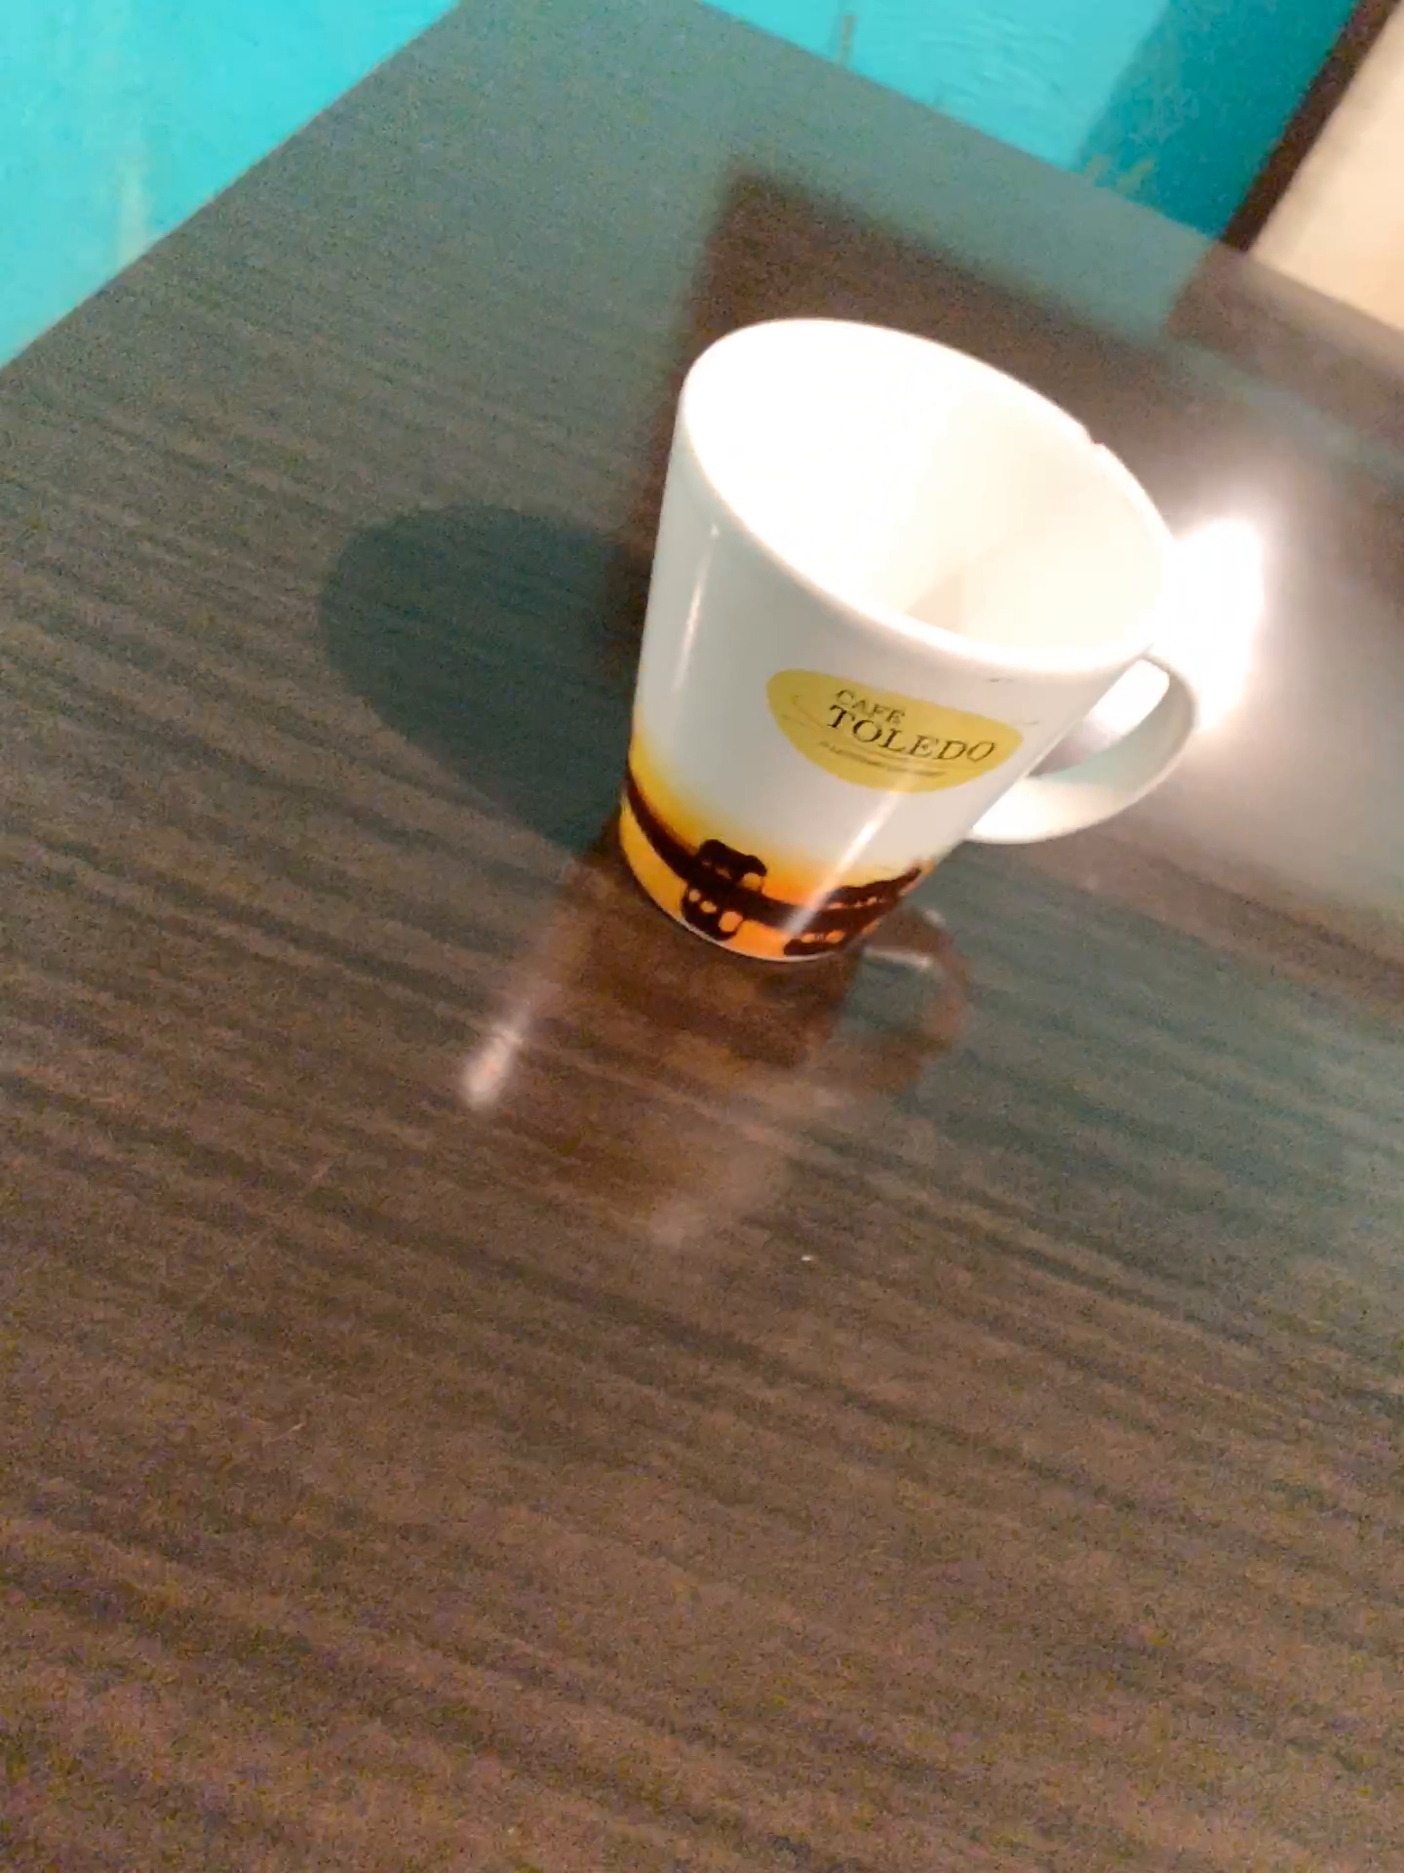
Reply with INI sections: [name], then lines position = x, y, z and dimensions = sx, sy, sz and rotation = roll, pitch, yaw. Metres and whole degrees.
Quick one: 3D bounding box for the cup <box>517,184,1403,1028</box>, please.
[cup]
position = 0.032, -0.051, 0.247
dimensions = 0.110, 0.080, 0.090
rotation = 8, 50, -17
